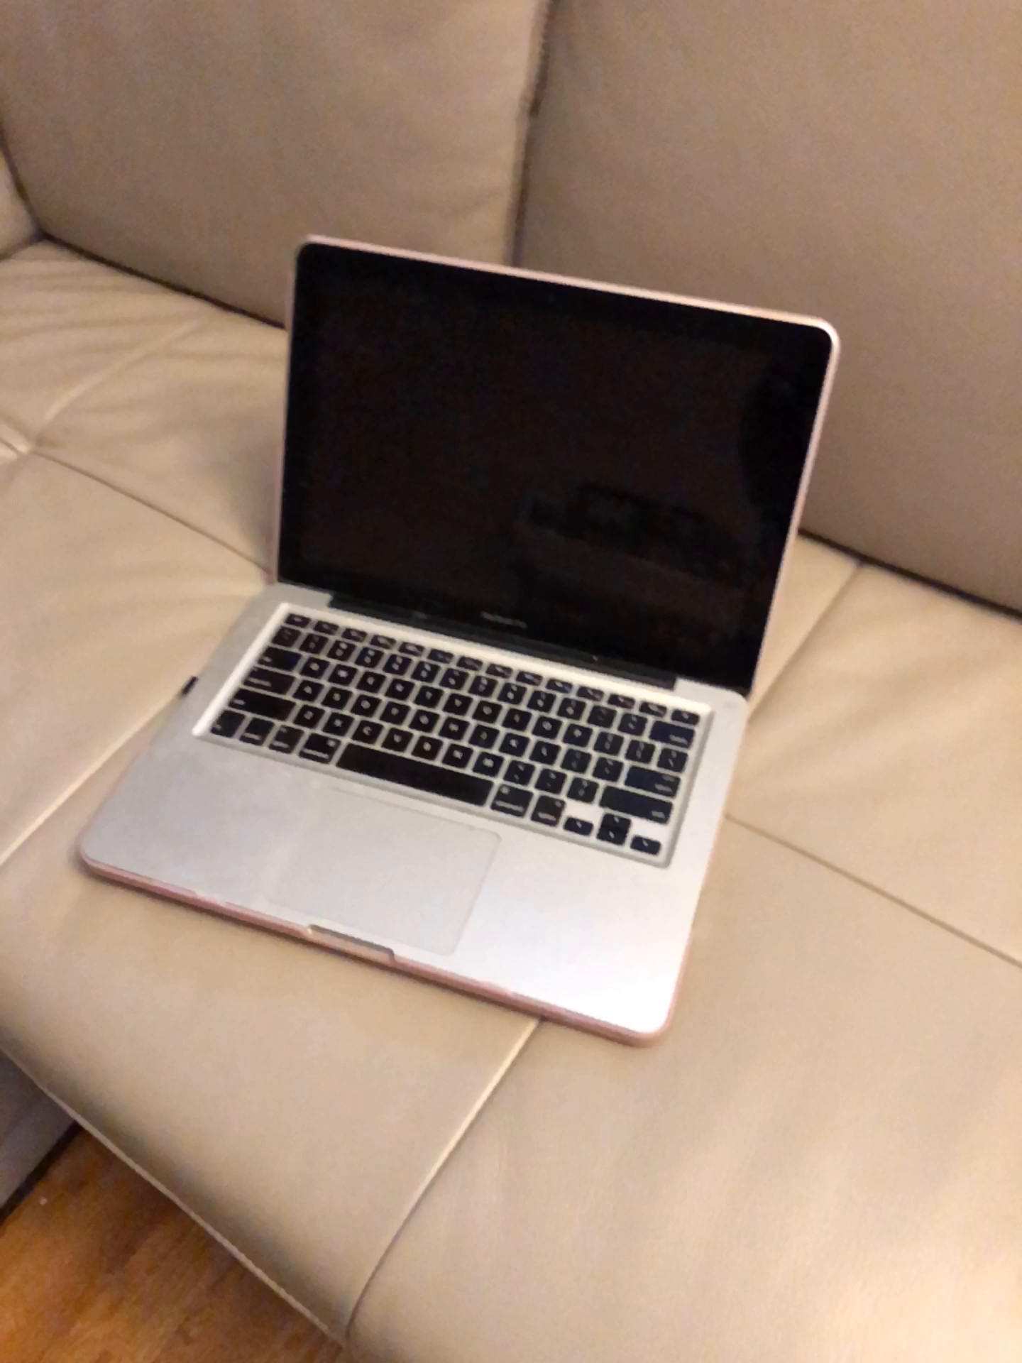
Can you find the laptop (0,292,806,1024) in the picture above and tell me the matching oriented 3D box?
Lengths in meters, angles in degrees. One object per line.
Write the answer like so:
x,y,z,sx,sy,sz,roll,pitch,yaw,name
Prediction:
-0.036,-0.035,0.585,0.305,0.177,0.307,14,48,14,laptop
